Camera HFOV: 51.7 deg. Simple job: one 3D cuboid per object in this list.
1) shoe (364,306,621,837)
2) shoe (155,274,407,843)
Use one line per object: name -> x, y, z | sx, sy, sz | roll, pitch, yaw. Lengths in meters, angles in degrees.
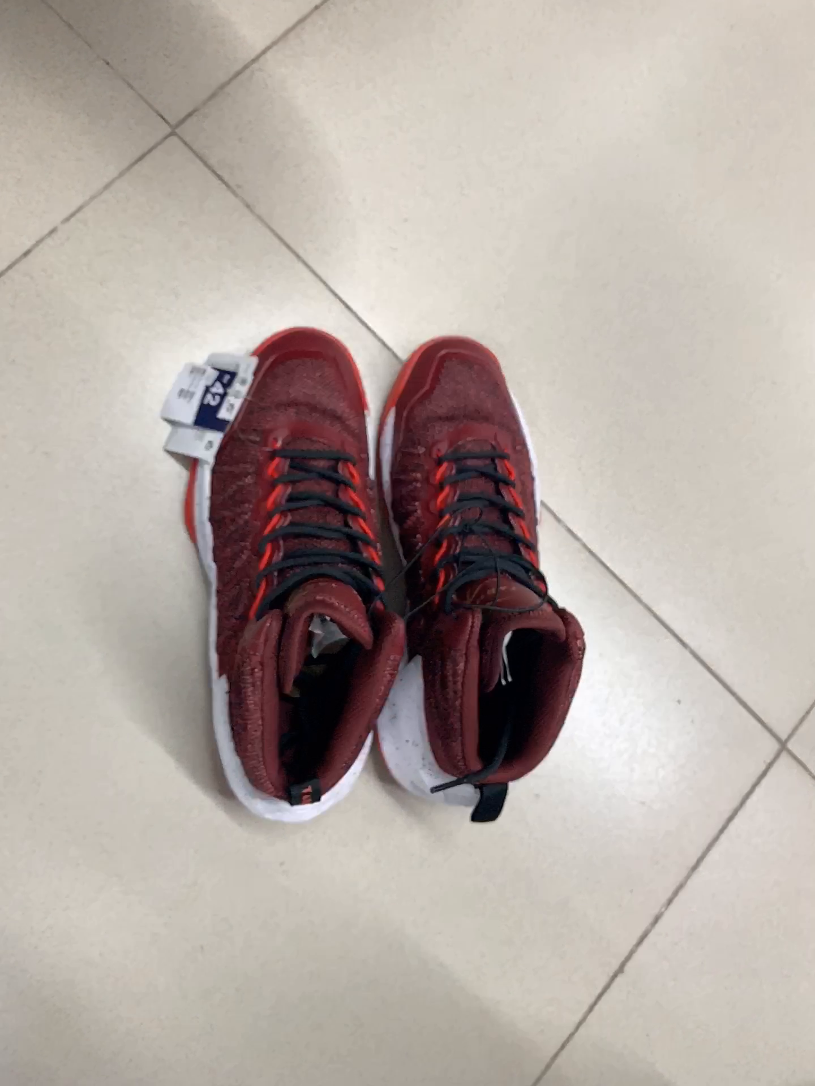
shoe -> 0.044, 0.017, 0.492 | 0.120, 0.110, 0.270 | 1, 86, -11
shoe -> -0.071, 0.010, 0.478 | 0.120, 0.110, 0.280 | 1, 86, -11
